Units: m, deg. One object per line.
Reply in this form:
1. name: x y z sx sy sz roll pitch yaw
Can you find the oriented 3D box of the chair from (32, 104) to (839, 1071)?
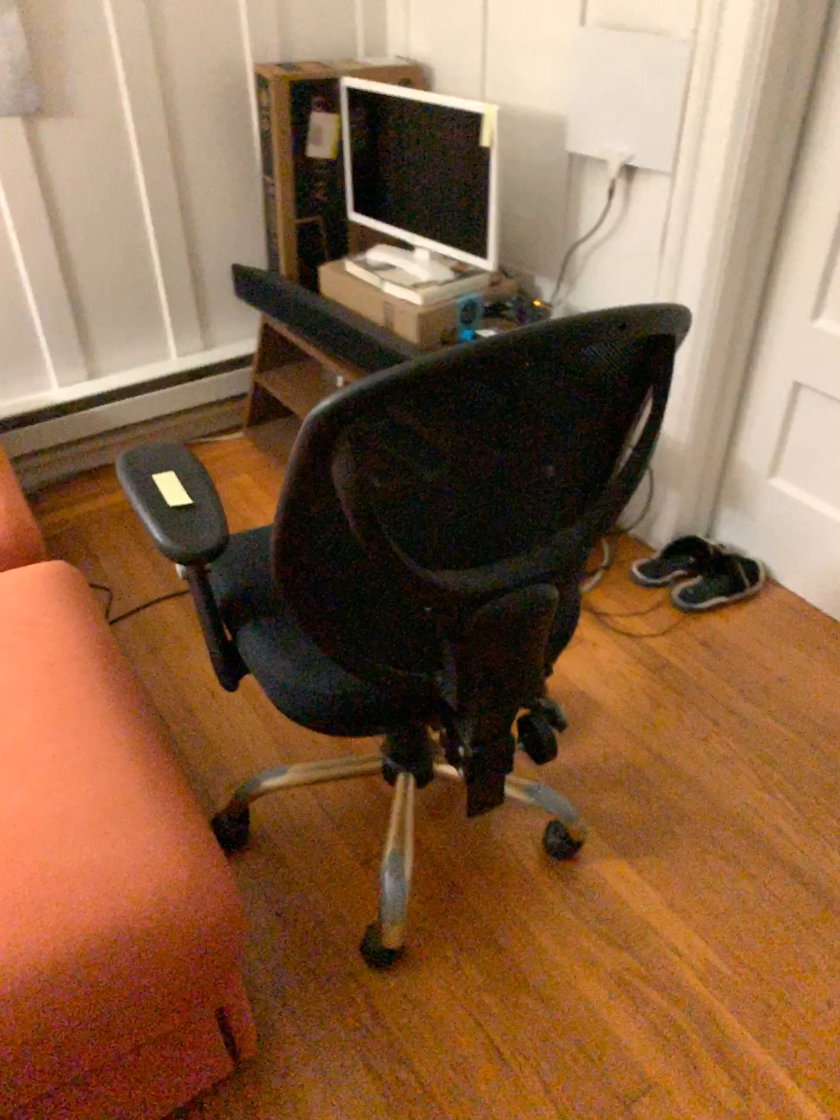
1. chair: -0.029 0.038 1.155 0.640 0.974 0.664 -14 44 -17
